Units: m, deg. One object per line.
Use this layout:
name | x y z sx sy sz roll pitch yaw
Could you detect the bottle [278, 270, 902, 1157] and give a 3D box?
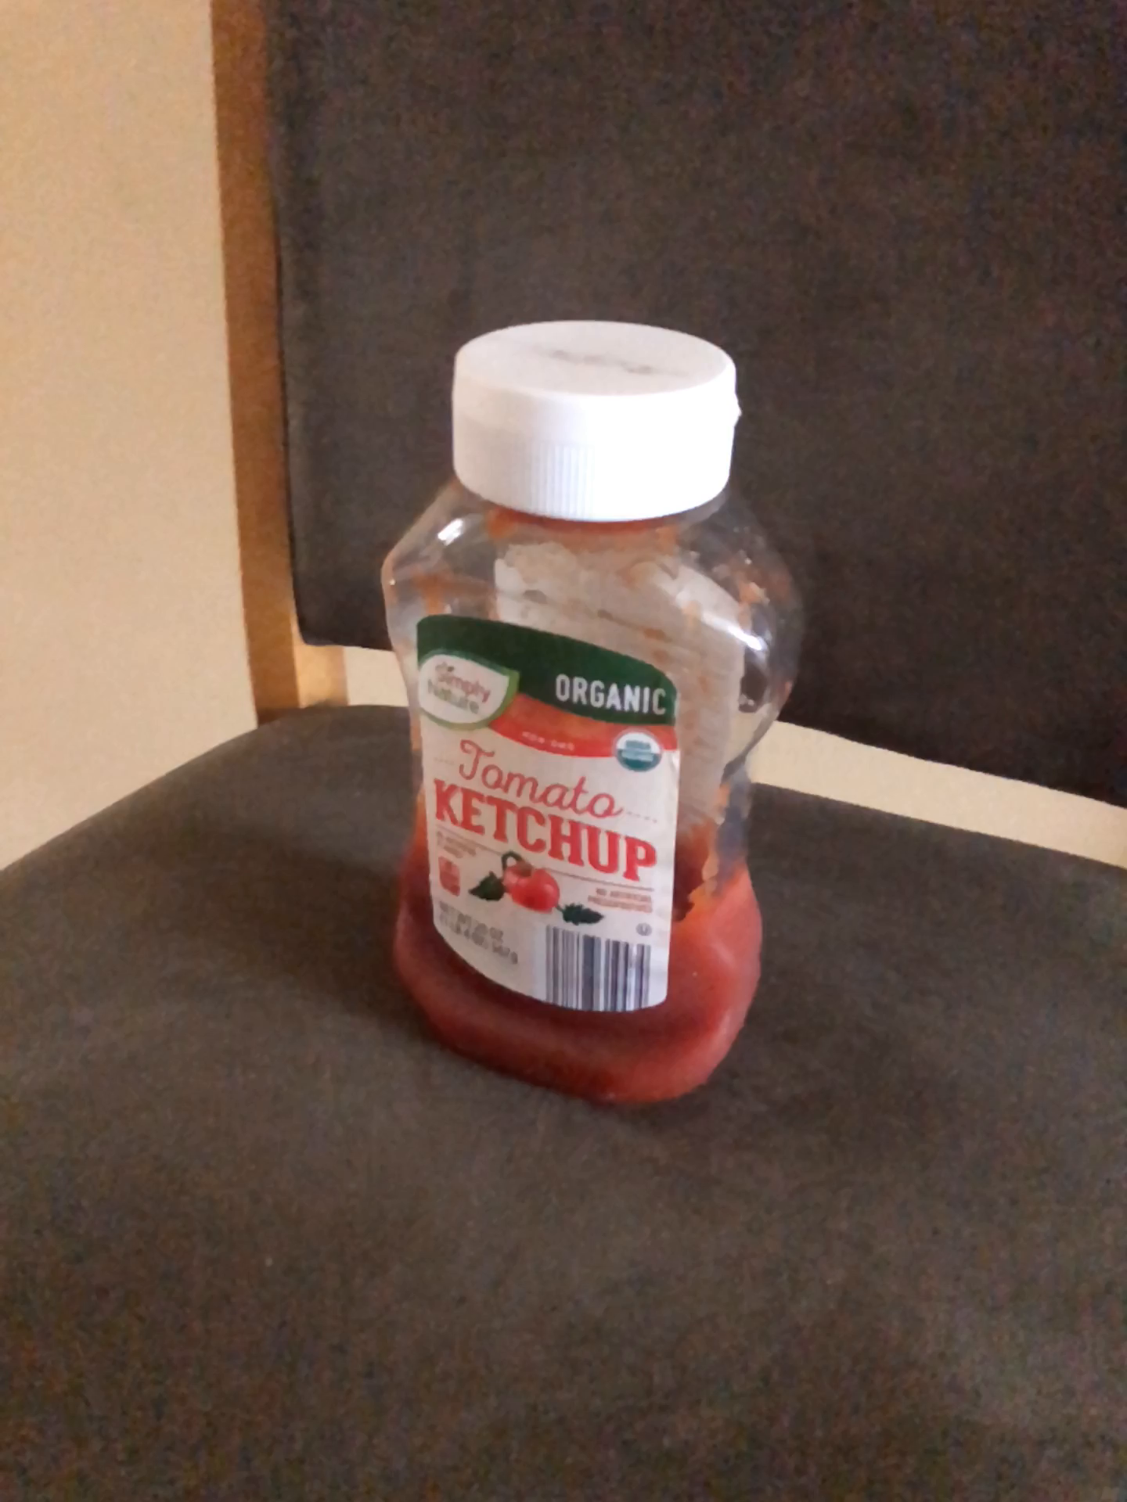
bottle | 0.005 -0.007 0.276 0.100 0.170 0.060 15 35 21
